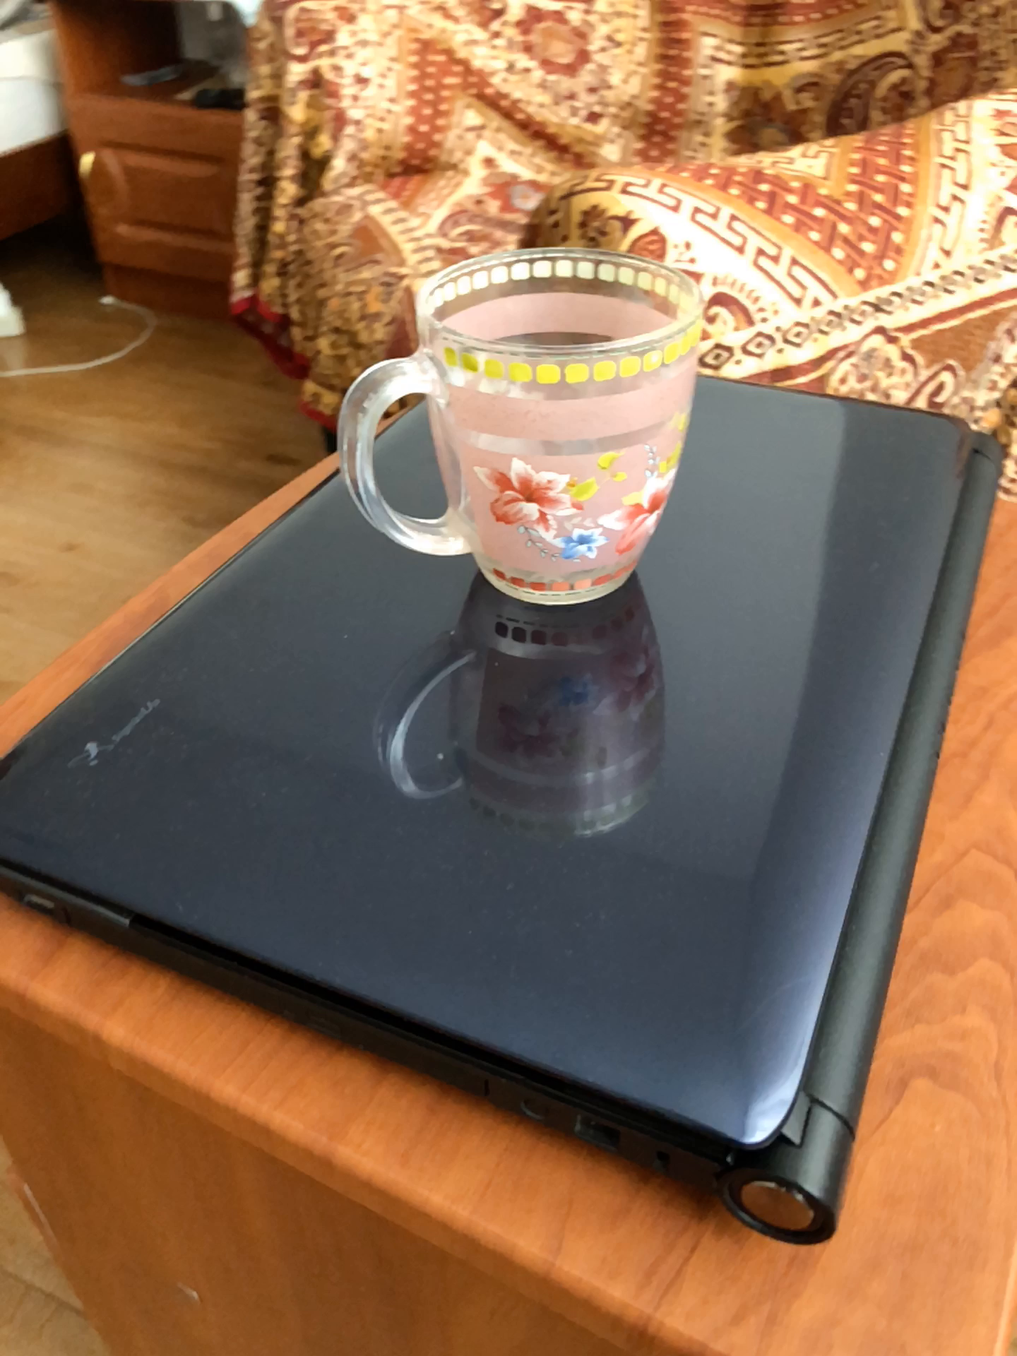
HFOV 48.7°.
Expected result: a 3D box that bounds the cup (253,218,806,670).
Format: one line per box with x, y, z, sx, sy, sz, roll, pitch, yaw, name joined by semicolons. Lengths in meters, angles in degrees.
0.004;-0.079;0.350;0.130;0.081;0.095;-19;42;-22;cup
